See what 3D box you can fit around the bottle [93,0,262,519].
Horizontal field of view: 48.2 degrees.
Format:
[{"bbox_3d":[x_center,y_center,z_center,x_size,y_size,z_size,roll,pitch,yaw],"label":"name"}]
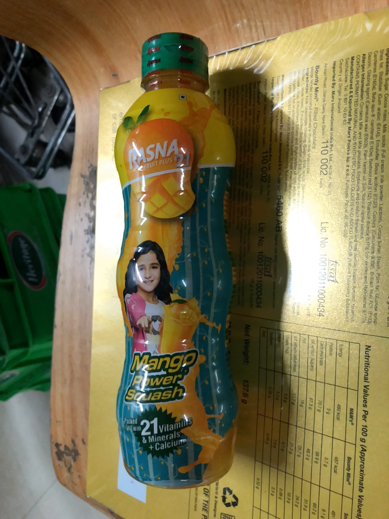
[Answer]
[{"bbox_3d":[-0.008,-0.002,0.250,0.080,0.050,0.260,2,92,18],"label":"bottle"}]
